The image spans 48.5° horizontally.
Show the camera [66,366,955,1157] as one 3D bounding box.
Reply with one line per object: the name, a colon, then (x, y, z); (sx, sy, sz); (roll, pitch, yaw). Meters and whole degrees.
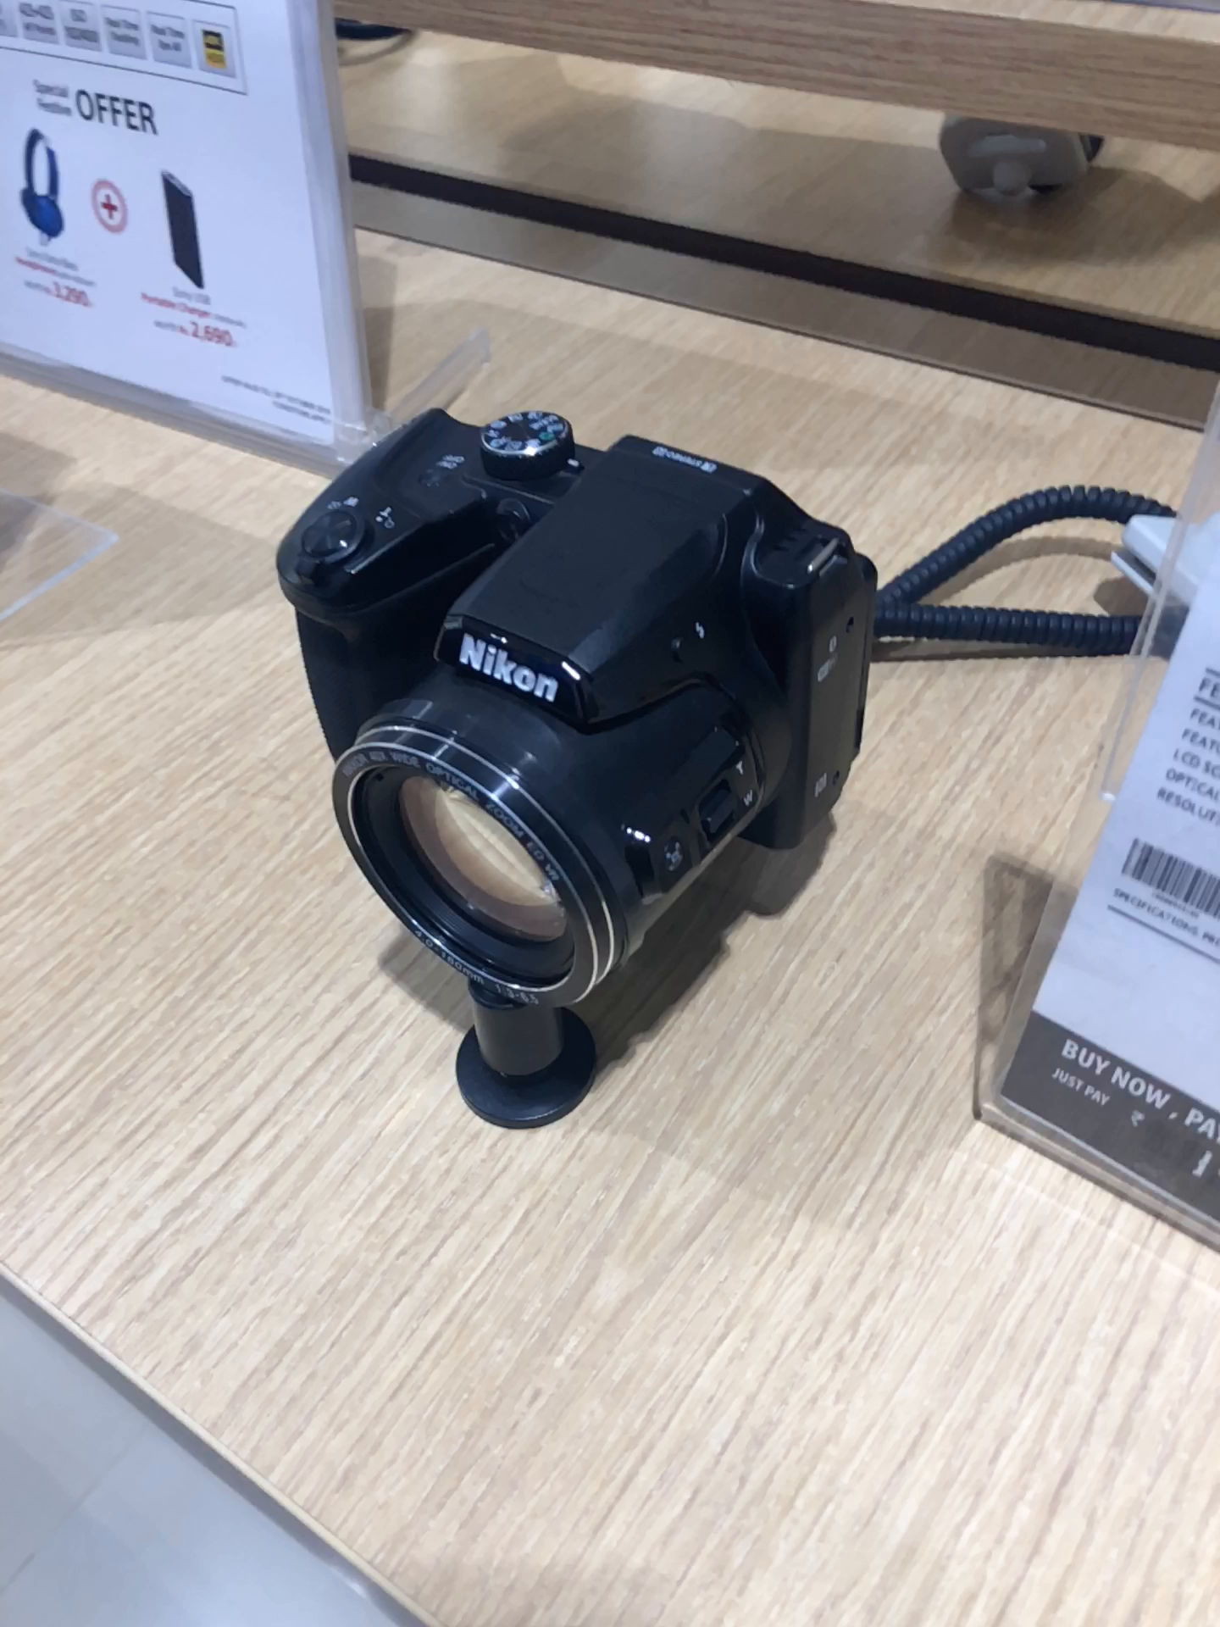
camera: (-0.015, -0.018, 0.252); (0.120, 0.070, 0.090); (25, 53, 27)
